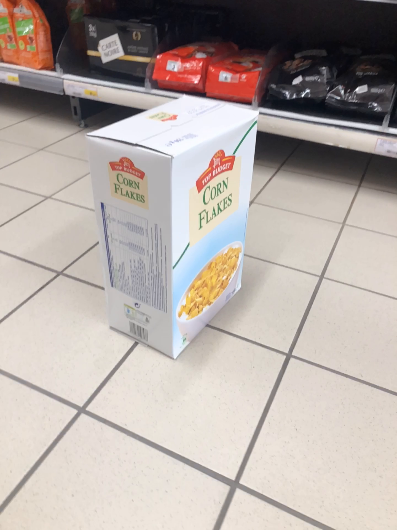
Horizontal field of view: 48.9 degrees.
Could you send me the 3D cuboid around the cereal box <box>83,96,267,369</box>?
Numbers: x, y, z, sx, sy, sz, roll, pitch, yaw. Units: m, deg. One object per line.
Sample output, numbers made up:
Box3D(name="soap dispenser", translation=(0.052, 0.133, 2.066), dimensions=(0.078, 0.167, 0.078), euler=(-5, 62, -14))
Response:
Box3D(name="cereal box", translation=(-0.024, -0.049, 0.589), dimensions=(0.120, 0.288, 0.201), euler=(21, 39, 25))
